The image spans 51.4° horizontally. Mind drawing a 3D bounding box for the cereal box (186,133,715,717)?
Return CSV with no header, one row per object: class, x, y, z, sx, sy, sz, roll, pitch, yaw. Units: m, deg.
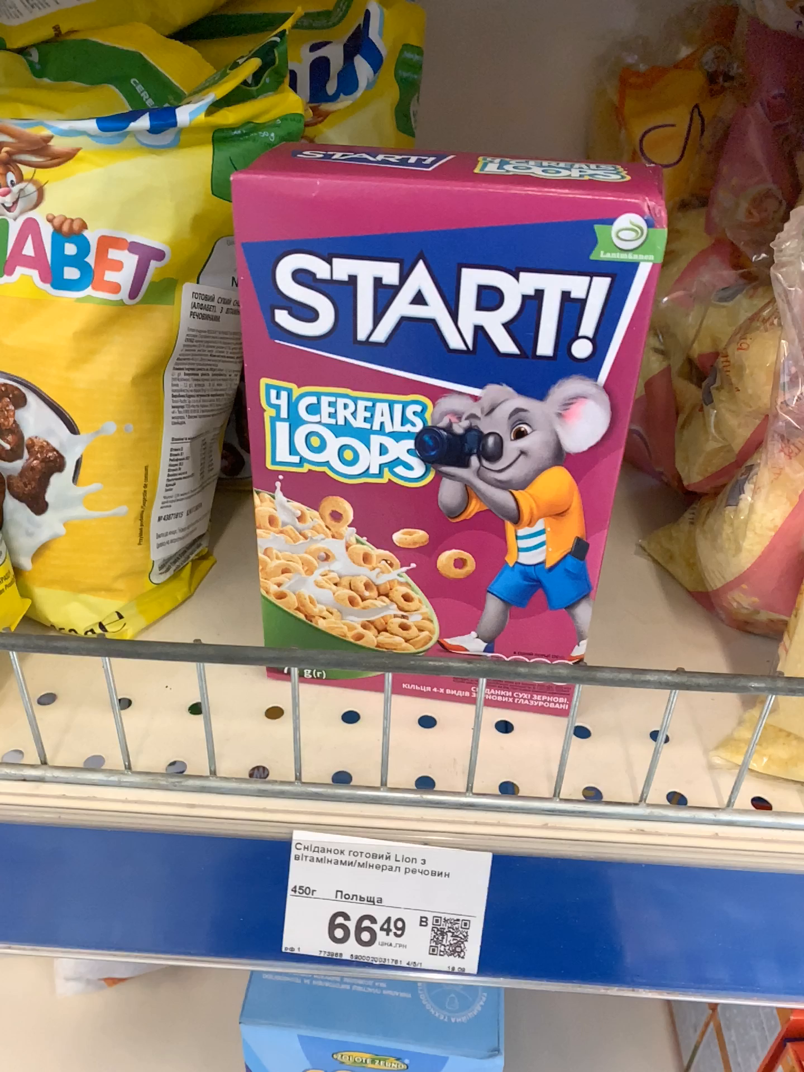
cereal box,0.010,-0.028,0.253,0.120,0.159,0.050,6,33,6
